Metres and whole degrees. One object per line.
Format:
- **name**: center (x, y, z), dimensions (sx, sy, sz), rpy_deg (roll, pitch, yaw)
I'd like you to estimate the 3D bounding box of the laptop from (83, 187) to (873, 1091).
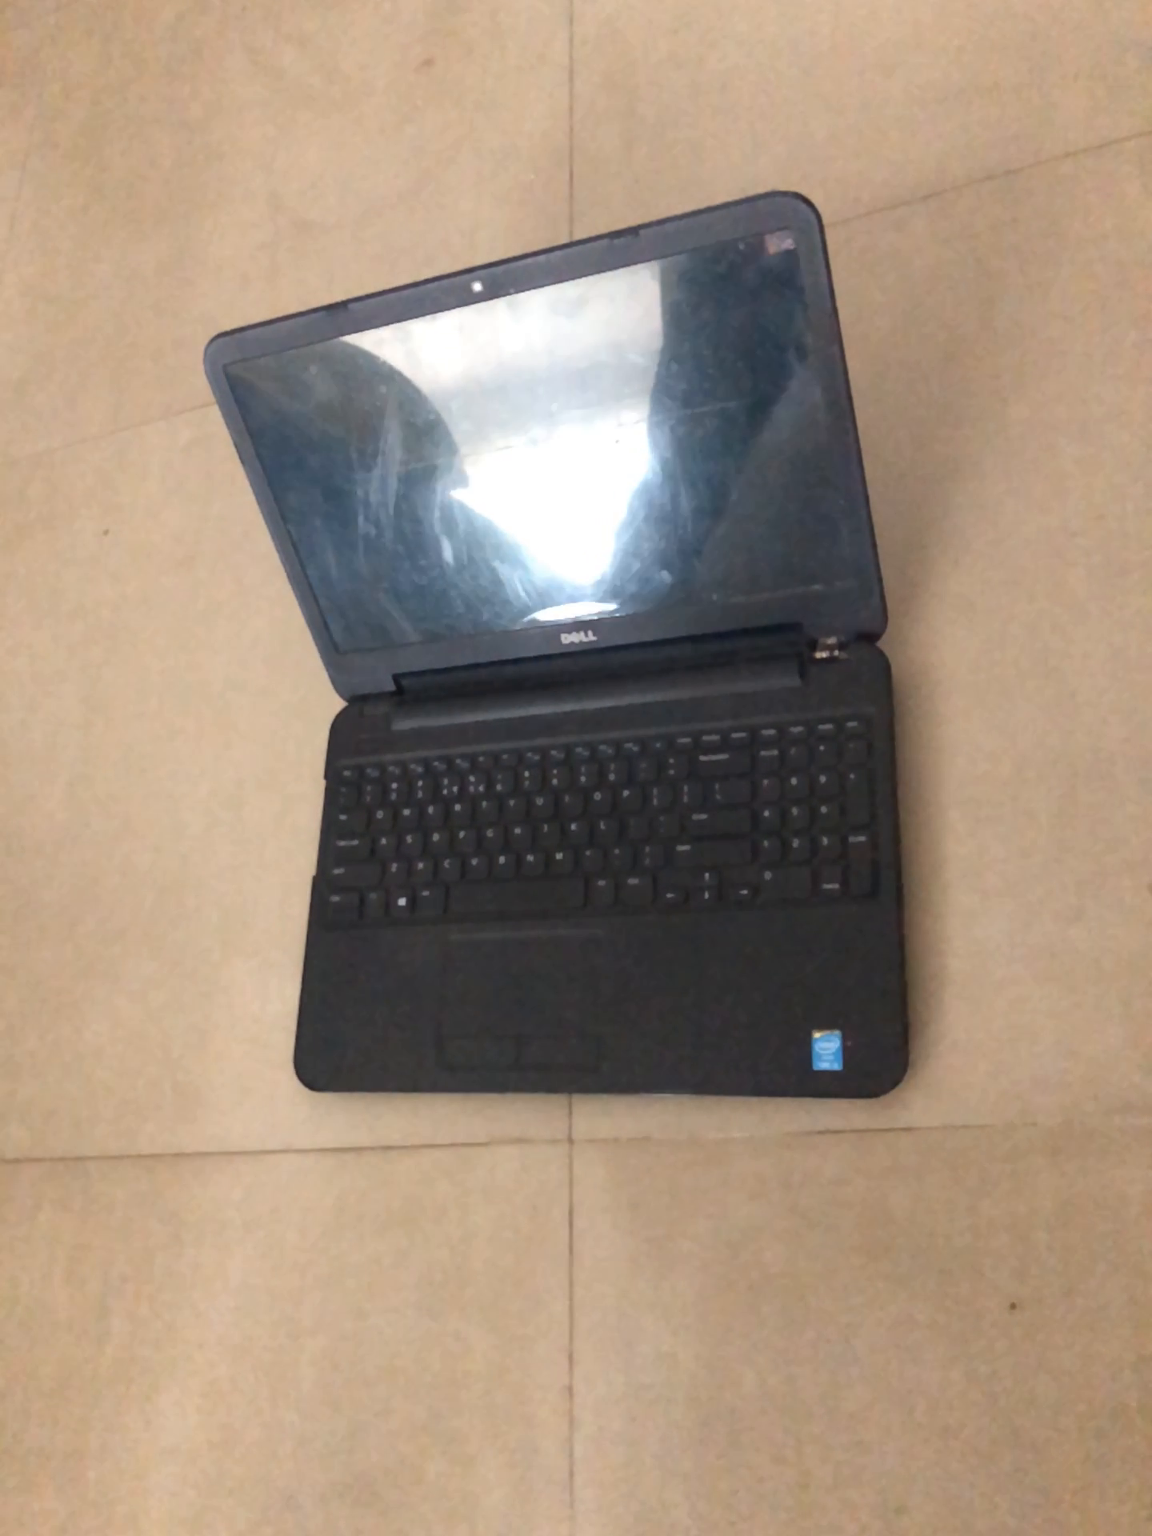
- **laptop**: center (-0.035, -0.046, 0.687), dimensions (0.343, 0.179, 0.406), rpy_deg (-6, 68, 23)
